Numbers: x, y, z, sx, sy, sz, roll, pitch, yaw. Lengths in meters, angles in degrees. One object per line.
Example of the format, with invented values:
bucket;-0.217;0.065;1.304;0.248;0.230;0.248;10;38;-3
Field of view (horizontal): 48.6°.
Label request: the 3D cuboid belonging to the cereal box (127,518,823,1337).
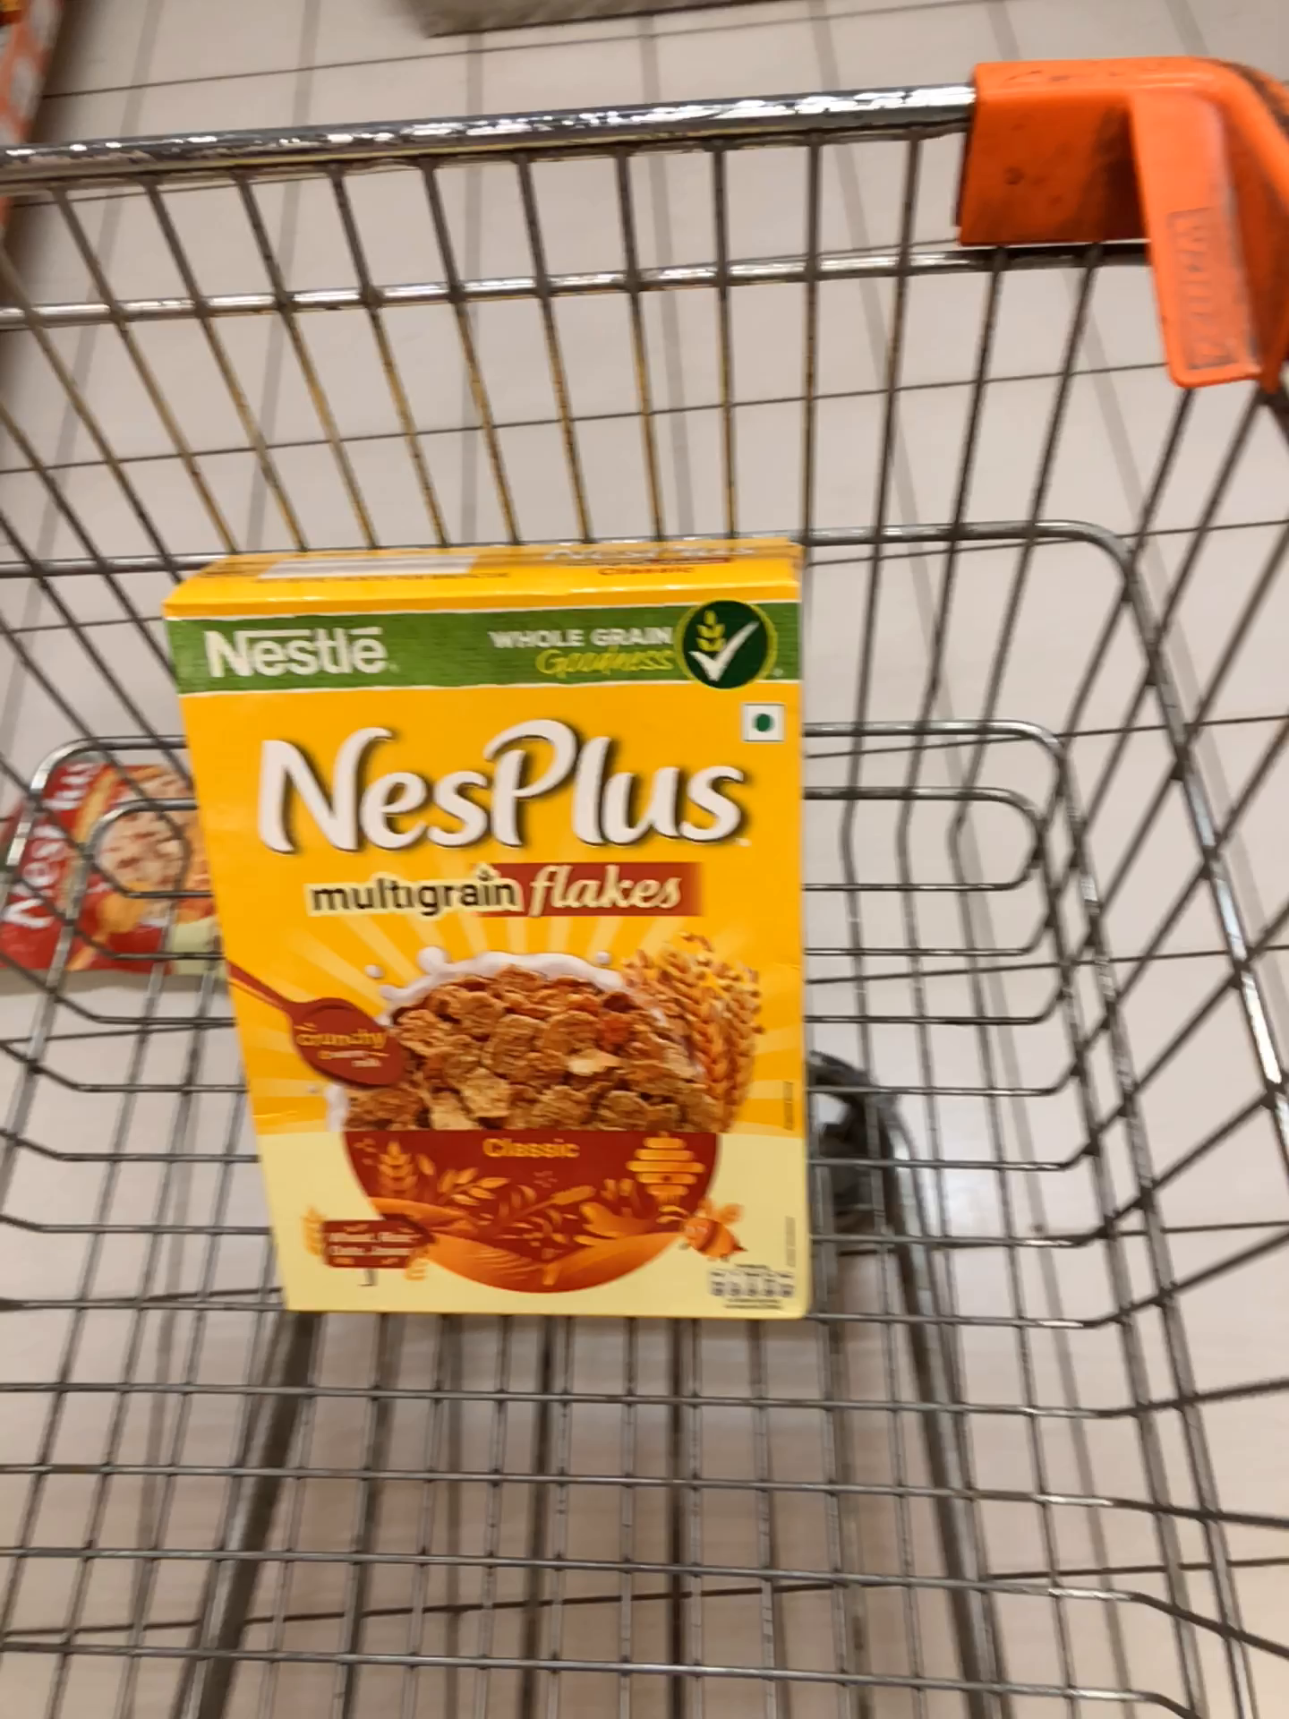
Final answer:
cereal box;-0.040;0.024;0.470;0.190;0.249;0.090;-1;21;5
